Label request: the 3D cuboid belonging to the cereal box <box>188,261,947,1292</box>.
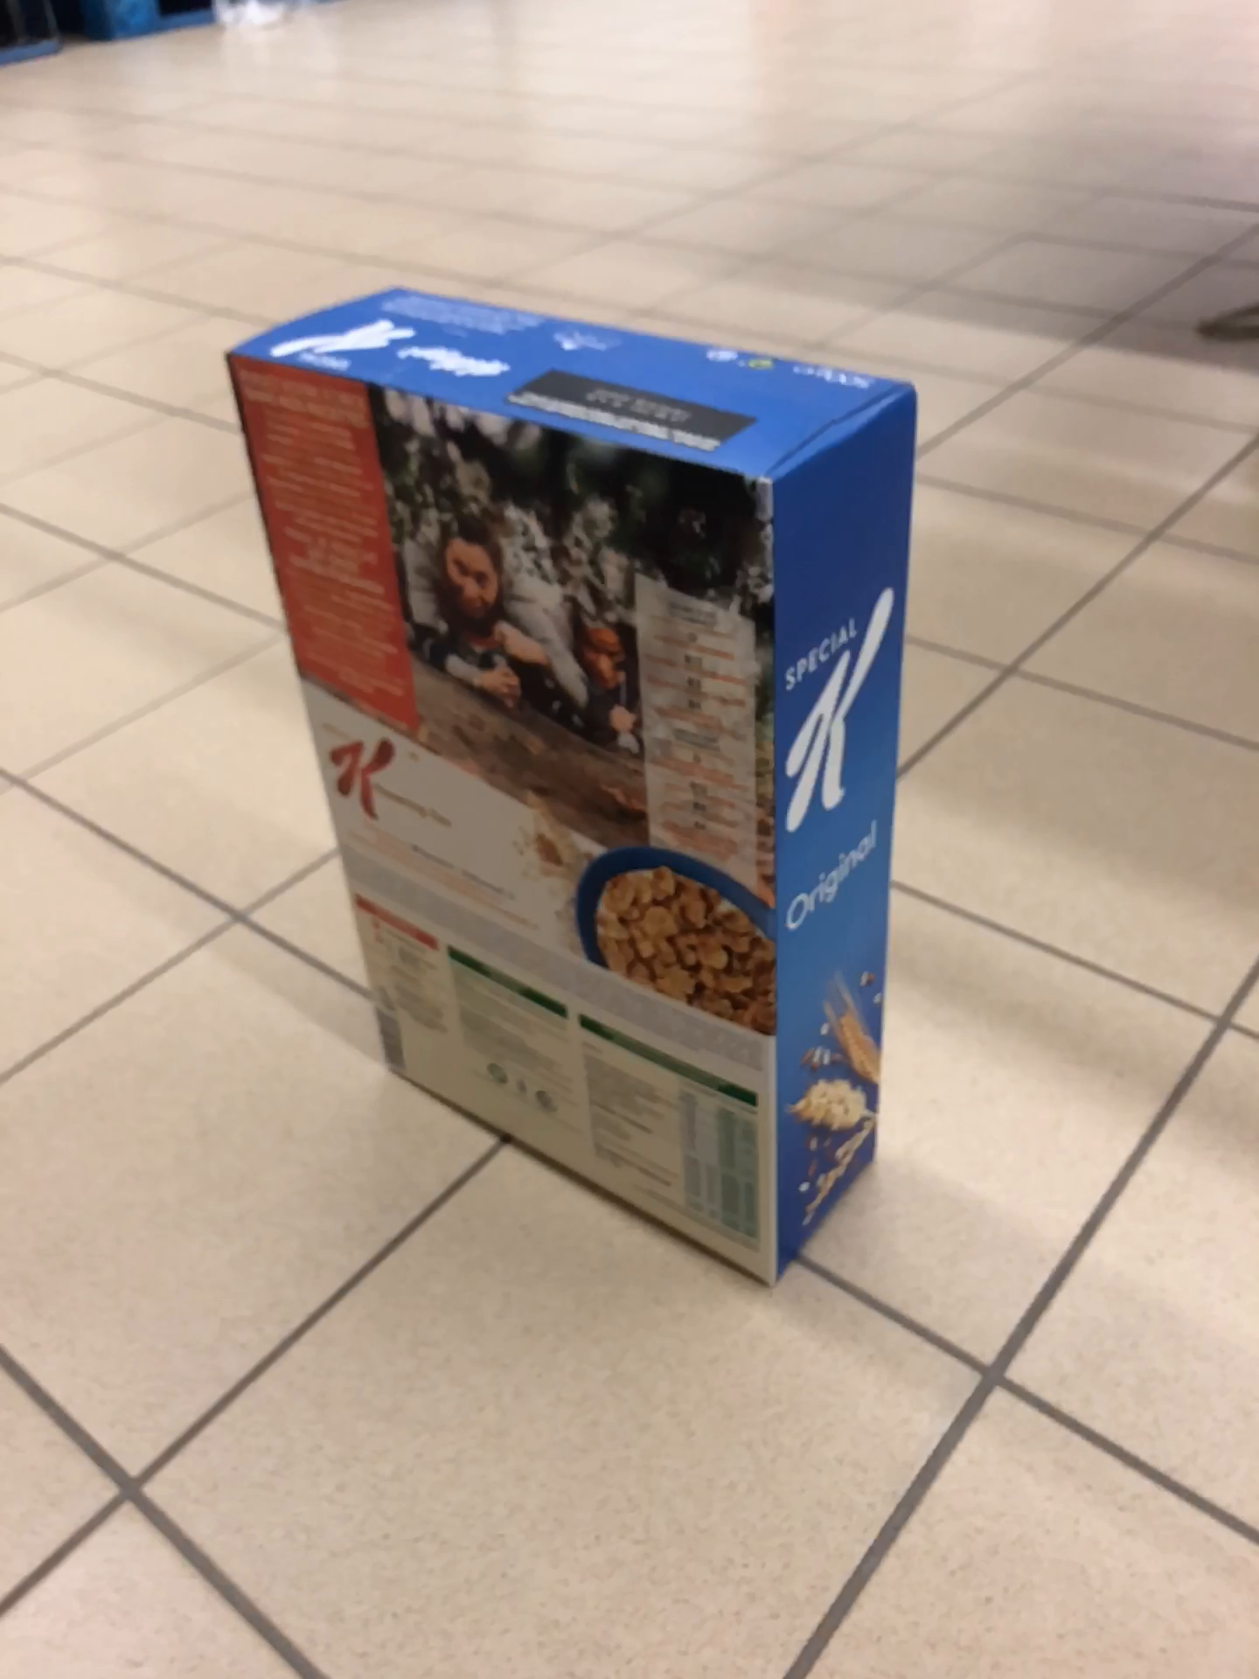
[{"bbox_3d":[-0.016,-0.017,0.468,0.210,0.298,0.070,22,43,31],"label":"cereal box"}]
